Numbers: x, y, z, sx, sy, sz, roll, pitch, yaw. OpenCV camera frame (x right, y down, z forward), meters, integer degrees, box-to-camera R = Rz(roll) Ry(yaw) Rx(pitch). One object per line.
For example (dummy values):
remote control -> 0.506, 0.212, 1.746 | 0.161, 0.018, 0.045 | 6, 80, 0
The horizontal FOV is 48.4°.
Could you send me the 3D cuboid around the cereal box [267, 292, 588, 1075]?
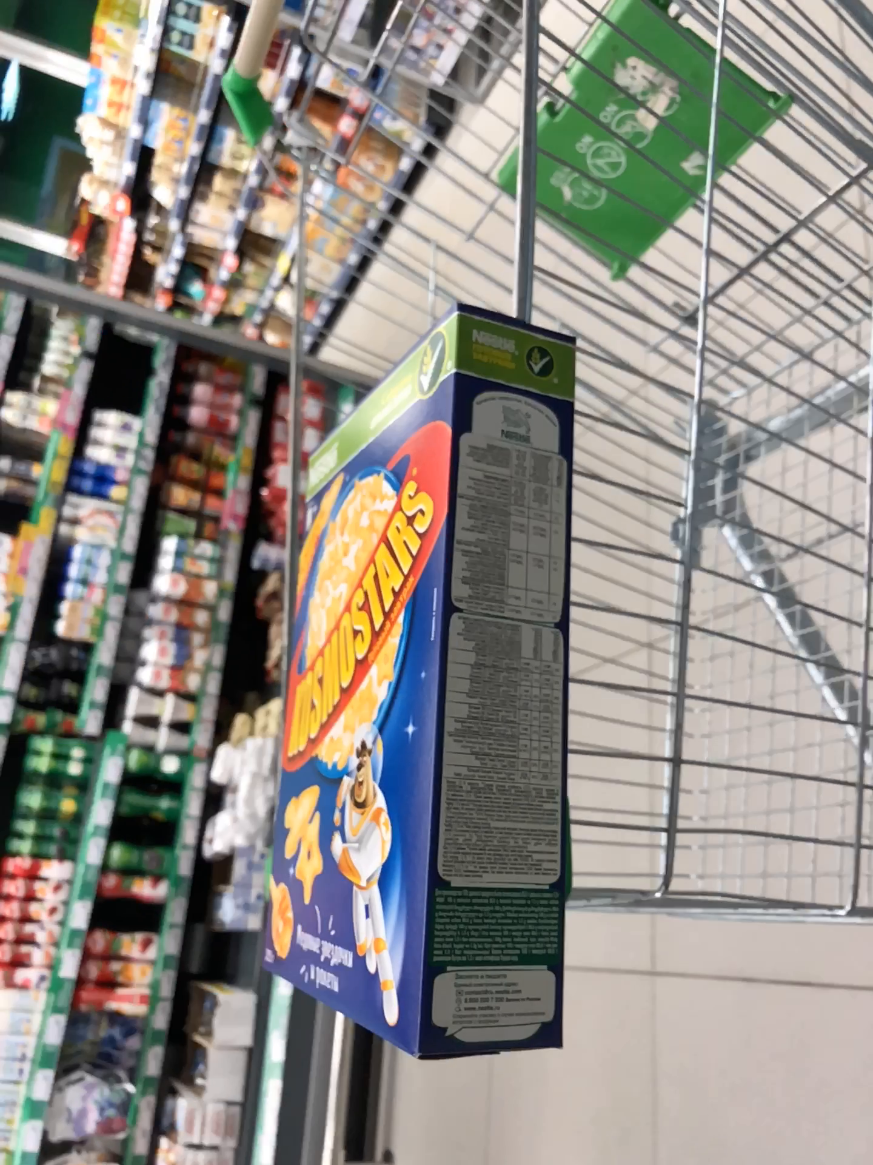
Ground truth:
cereal box -> -0.012, 0.047, 0.446 | 0.201, 0.060, 0.280 | 152, 123, -64
